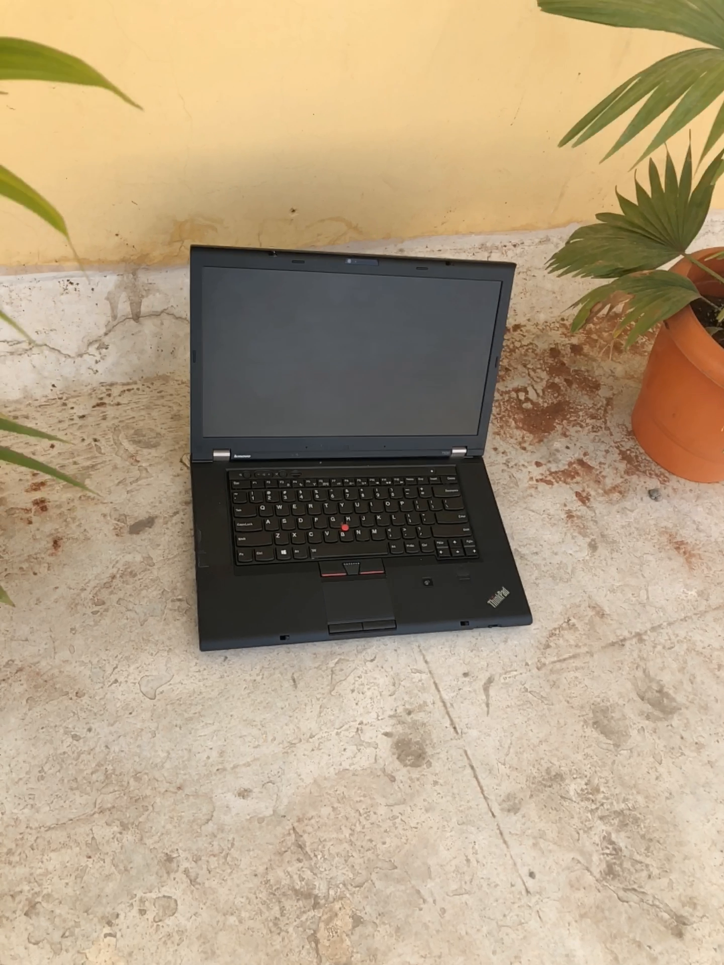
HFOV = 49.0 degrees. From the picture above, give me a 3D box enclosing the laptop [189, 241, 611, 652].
[{"bbox_3d":[0.007,-0.045,0.852,0.360,0.208,0.353,-1,56,-15],"label":"laptop"}]
